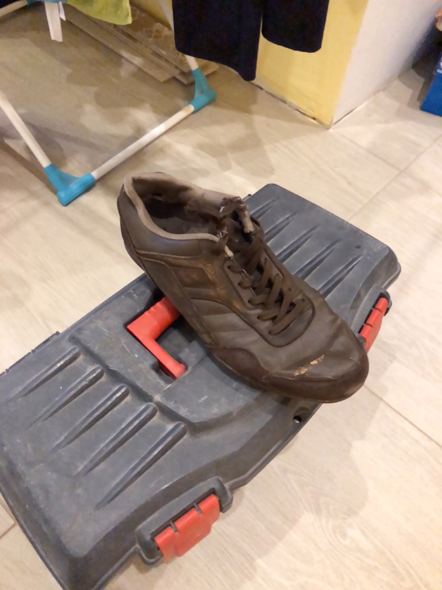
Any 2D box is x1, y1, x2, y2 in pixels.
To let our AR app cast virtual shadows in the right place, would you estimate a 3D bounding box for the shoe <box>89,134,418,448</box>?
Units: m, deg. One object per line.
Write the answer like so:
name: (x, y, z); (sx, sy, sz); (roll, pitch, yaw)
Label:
shoe: (0.015, -0.015, 0.450); (0.110, 0.099, 0.281); (-37, 66, -25)
